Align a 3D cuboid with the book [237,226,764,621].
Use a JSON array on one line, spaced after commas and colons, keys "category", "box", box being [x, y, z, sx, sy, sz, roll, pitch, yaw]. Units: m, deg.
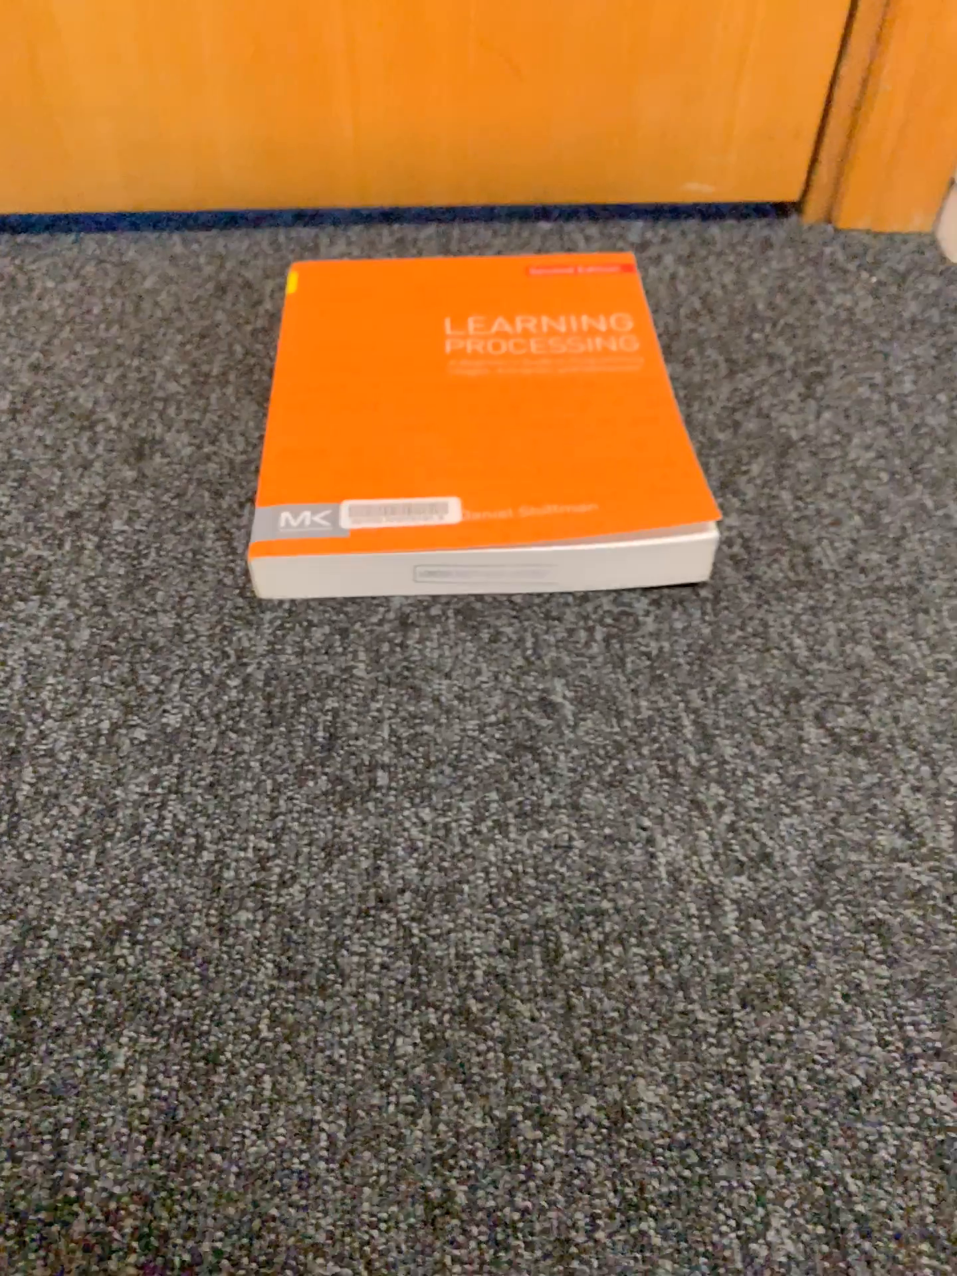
[{"category": "book", "box": [0.003, -0.122, 0.496, 0.210, 0.040, 0.262, -2, 49, -2]}]
